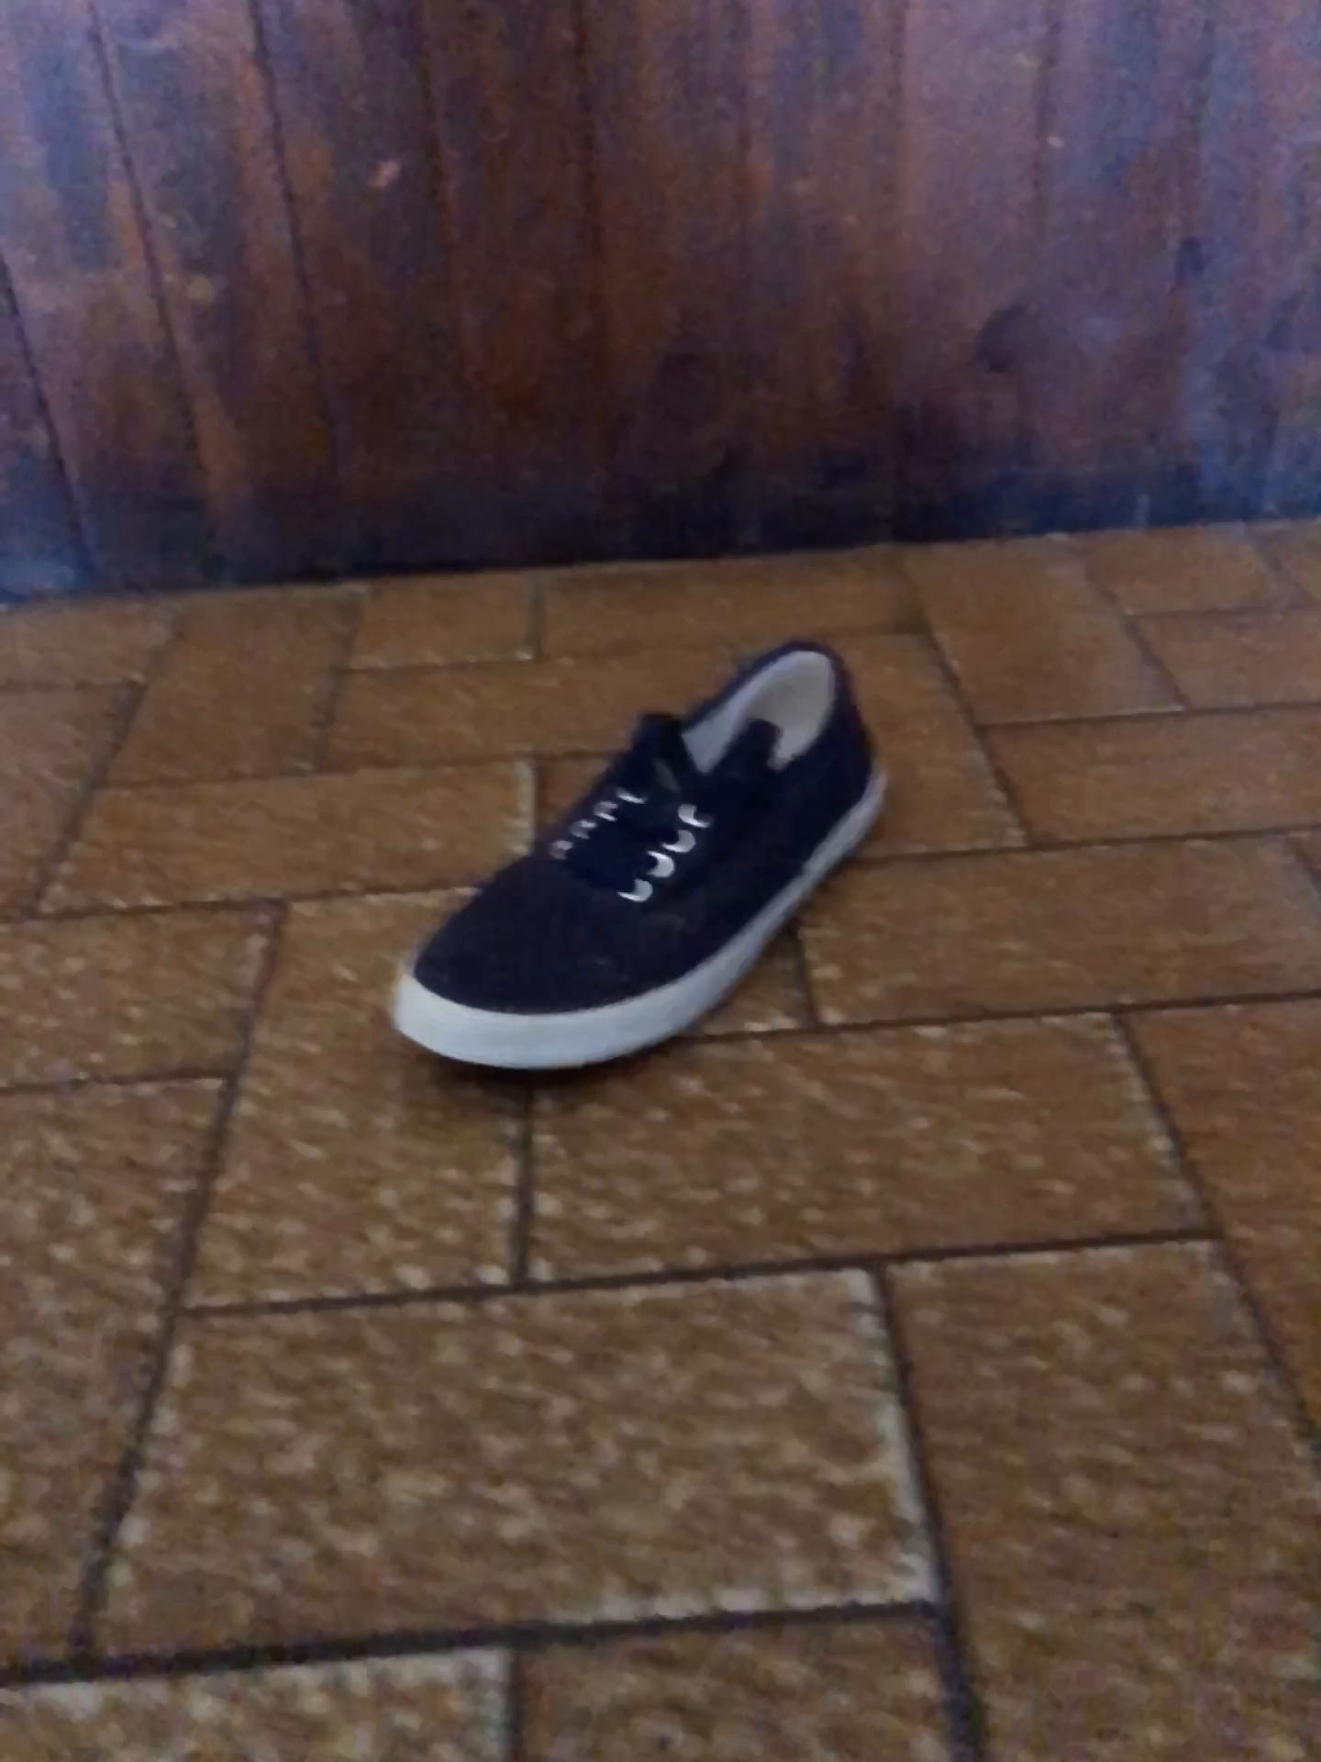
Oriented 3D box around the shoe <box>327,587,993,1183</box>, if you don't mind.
[{"bbox_3d":[0.014,-0.016,0.503,0.100,0.070,0.241,20,41,30],"label":"shoe"}]
